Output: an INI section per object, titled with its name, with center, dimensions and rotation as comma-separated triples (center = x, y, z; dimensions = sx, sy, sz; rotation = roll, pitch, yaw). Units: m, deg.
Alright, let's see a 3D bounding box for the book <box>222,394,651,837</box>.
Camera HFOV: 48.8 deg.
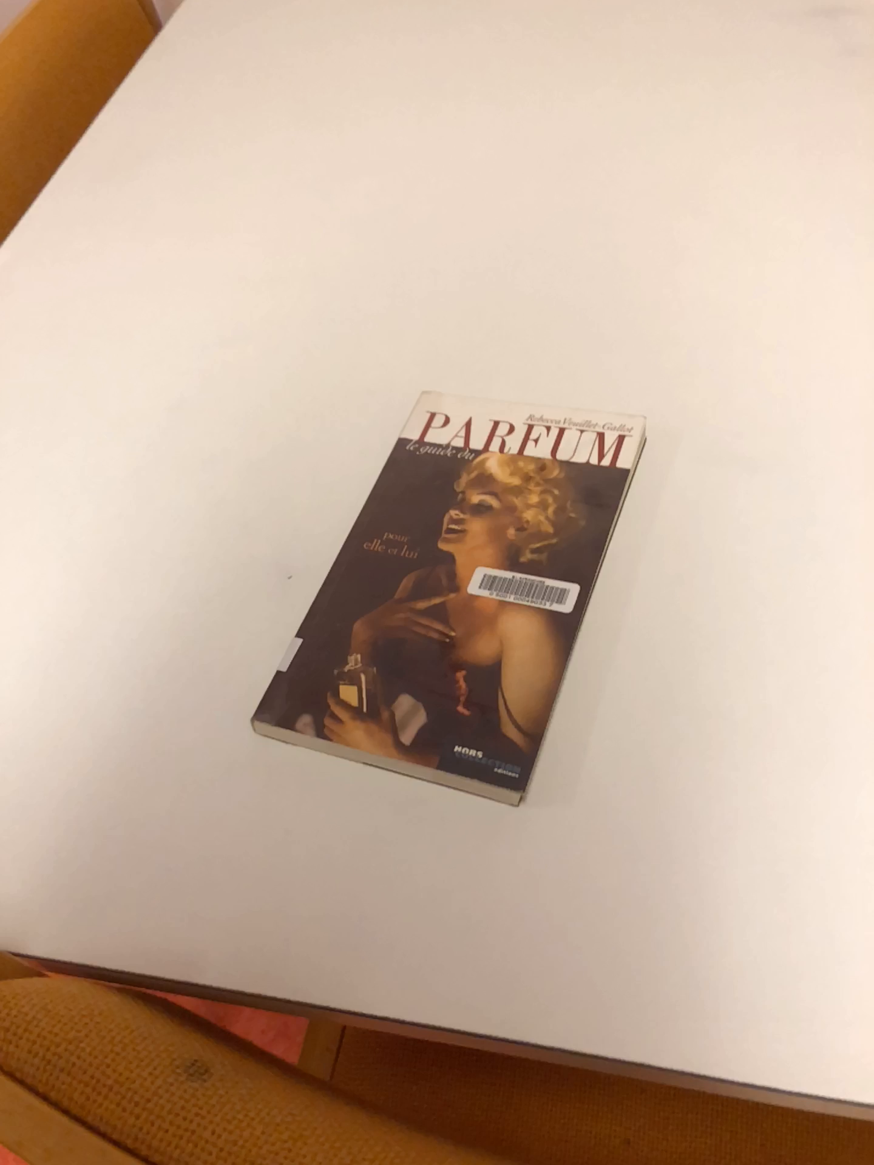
[book]
center = 0.009, -0.001, 0.442
dimensions = 0.133, 0.020, 0.211
rotation = 10, 56, 20
